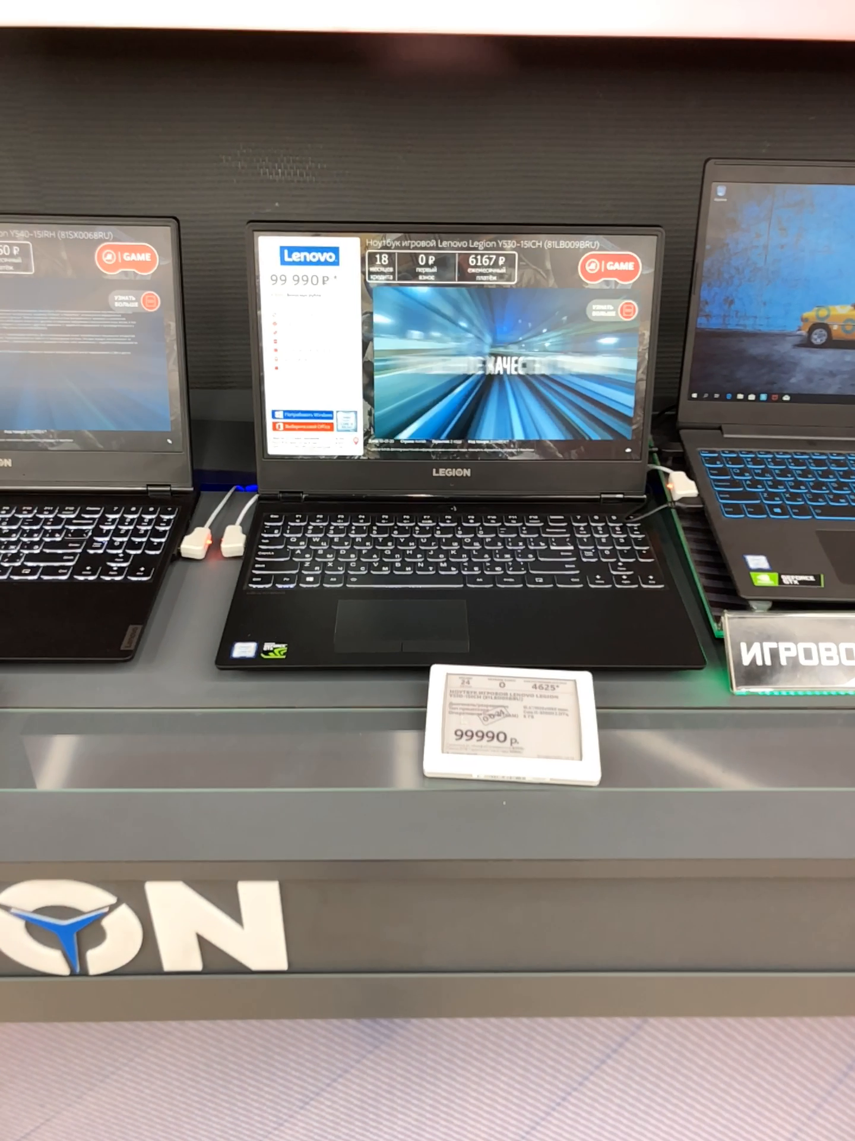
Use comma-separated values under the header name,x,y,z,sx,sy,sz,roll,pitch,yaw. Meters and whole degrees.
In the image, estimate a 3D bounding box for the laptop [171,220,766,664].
name,x,y,z,sx,sy,sz,roll,pitch,yaw
laptop,0.025,-0.116,0.736,0.352,0.225,0.302,0,35,-1

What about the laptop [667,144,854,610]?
name,x,y,z,sx,sy,sz,roll,pitch,yaw
laptop,0.417,-0.176,0.767,0.354,0.225,0.336,1,38,1

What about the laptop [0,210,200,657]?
name,x,y,z,sx,sy,sz,roll,pitch,yaw
laptop,-0.393,-0.122,0.735,0.353,0.223,0.316,0,34,-3
